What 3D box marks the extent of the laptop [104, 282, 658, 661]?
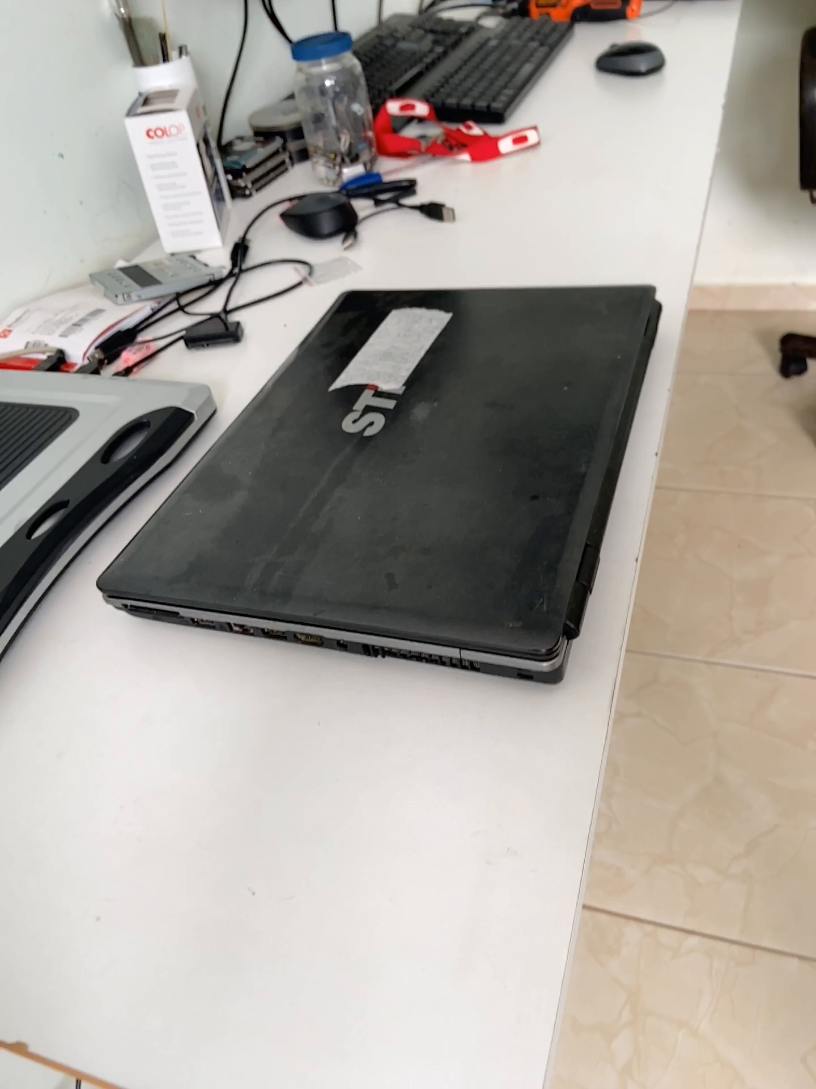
[{"bbox_3d":[0.008,-0.077,0.508,0.234,0.006,0.339,6,44,21],"label":"laptop"}]
